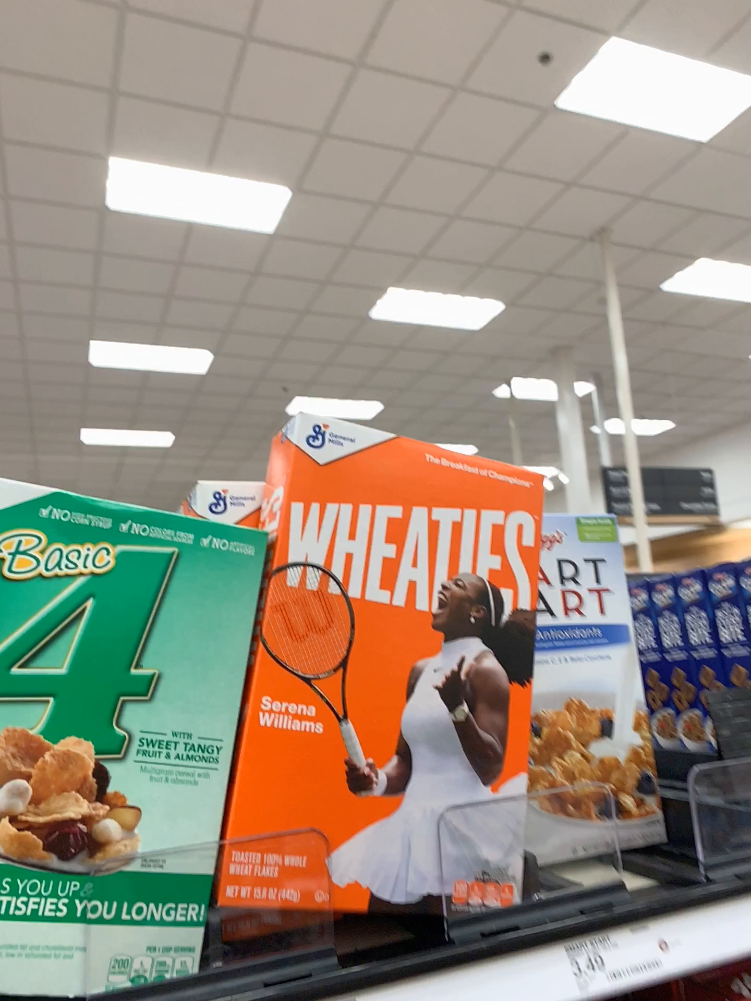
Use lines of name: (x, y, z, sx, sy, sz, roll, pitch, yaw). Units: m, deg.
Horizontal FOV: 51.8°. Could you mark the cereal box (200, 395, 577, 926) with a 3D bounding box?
cereal box: (0.018, 0.102, 0.504, 0.200, 0.291, 0.070, 13, -18, -18)
